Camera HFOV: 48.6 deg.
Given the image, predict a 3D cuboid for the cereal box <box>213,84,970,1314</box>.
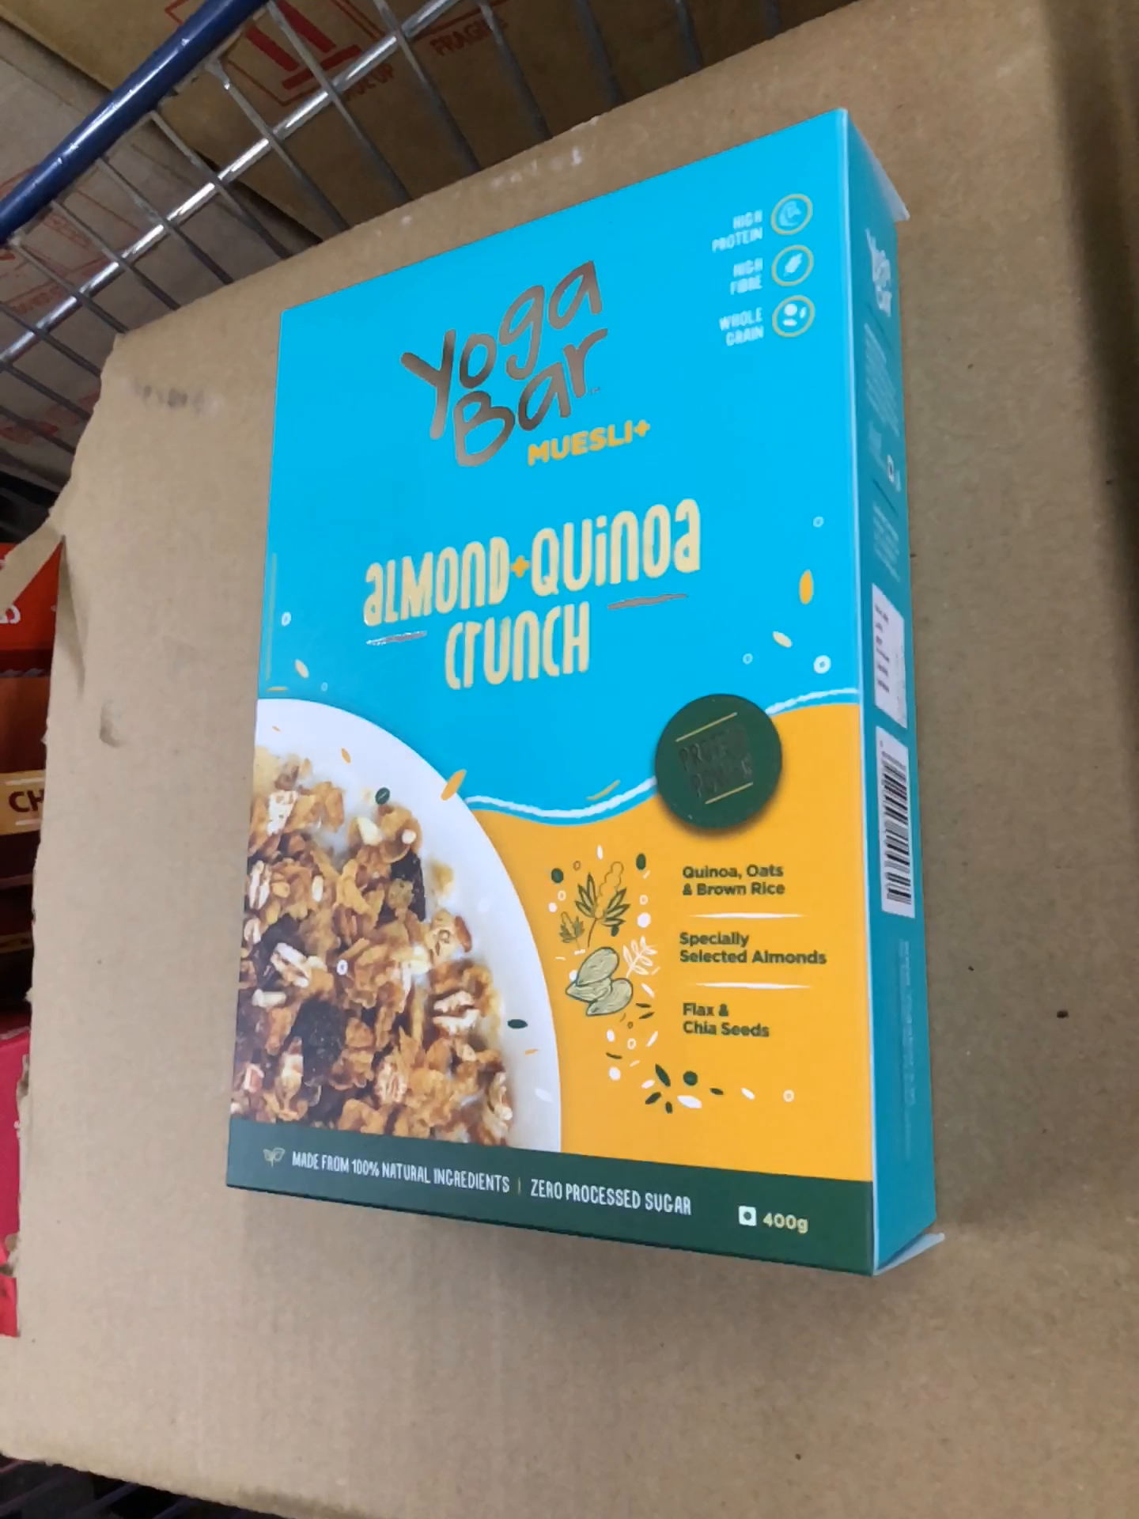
[{"bbox_3d":[0.002,-0.010,0.309,0.160,0.070,0.240,-5,80,28],"label":"cereal box"}]
